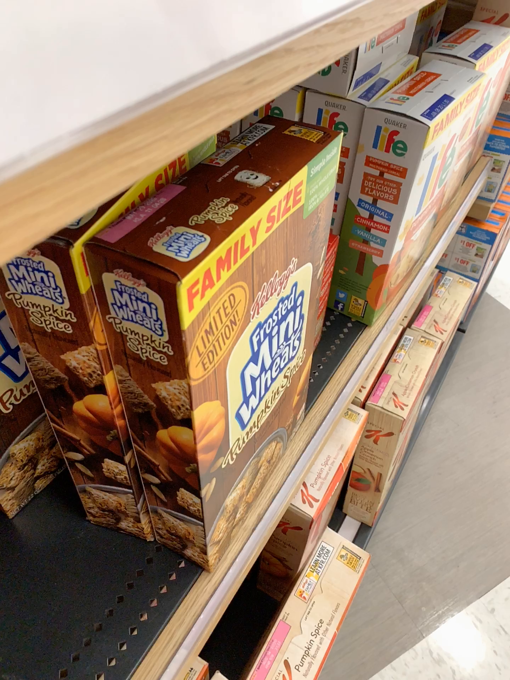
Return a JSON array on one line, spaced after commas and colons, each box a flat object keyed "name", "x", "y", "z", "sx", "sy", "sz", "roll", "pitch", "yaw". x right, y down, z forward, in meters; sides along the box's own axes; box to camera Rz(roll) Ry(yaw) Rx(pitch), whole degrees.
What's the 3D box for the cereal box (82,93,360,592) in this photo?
[{"name": "cereal box", "x": -0.003, "y": 0.018, "z": 0.379, "sx": 0.050, "sy": 0.309, "sz": 0.201, "roll": 20, "pitch": 47, "yaw": 20}]
